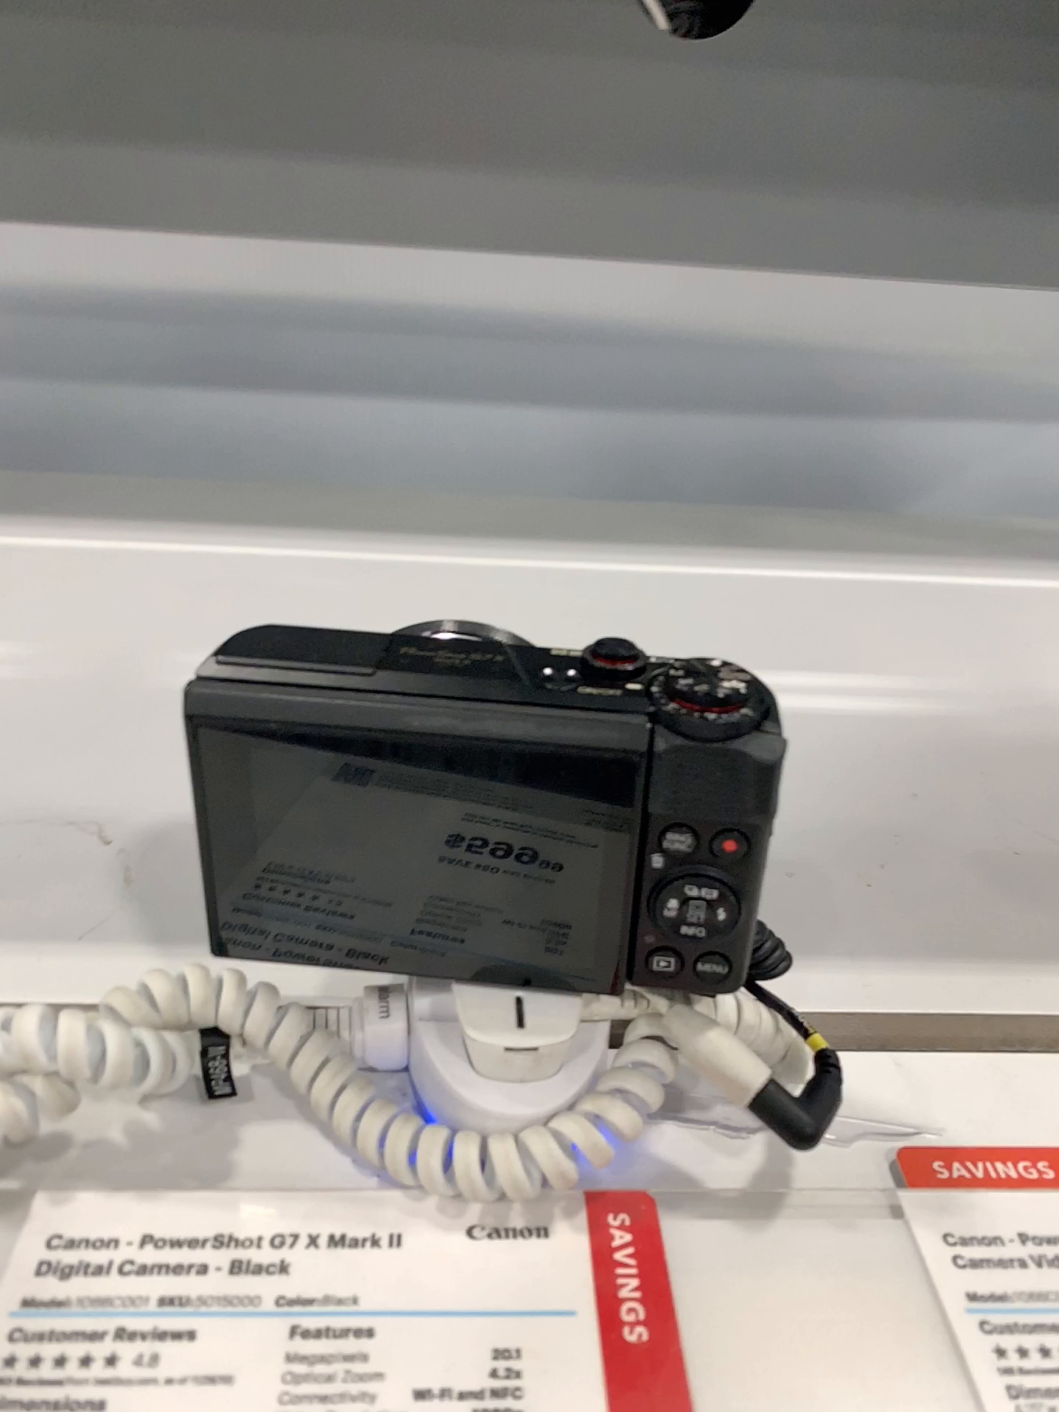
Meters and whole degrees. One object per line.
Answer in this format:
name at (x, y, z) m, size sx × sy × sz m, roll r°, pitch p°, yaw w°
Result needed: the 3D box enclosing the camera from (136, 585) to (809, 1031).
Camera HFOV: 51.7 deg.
camera at (-0.011, 0.018, 0.210) m, size 0.110 × 0.060 × 0.044 m, roll 6°, pitch 27°, yaw 2°
